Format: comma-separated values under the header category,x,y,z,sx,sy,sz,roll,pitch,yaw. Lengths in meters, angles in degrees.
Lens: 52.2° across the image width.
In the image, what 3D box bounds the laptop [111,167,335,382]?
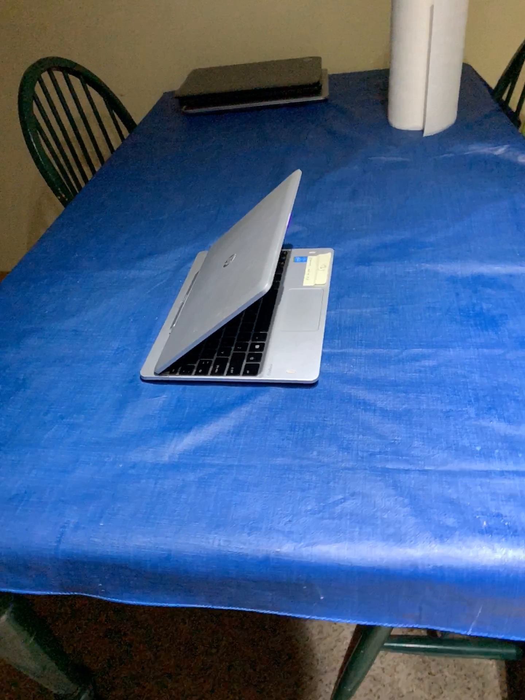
category,x,y,z,sx,sy,sz,roll,pitch,yaw
laptop,-0.024,-0.105,0.666,0.207,0.122,0.282,0,40,12
